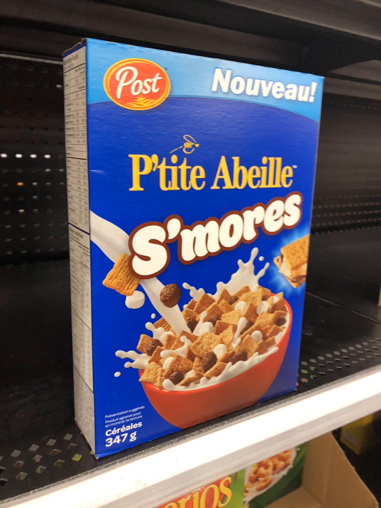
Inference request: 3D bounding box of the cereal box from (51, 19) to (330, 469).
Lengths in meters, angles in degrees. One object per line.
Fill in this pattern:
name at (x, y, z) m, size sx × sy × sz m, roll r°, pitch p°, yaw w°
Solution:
cereal box at (0.006, -0.007, 0.335) m, size 0.200 × 0.279 × 0.060 m, roll -7°, pitch 15°, yaw -32°
